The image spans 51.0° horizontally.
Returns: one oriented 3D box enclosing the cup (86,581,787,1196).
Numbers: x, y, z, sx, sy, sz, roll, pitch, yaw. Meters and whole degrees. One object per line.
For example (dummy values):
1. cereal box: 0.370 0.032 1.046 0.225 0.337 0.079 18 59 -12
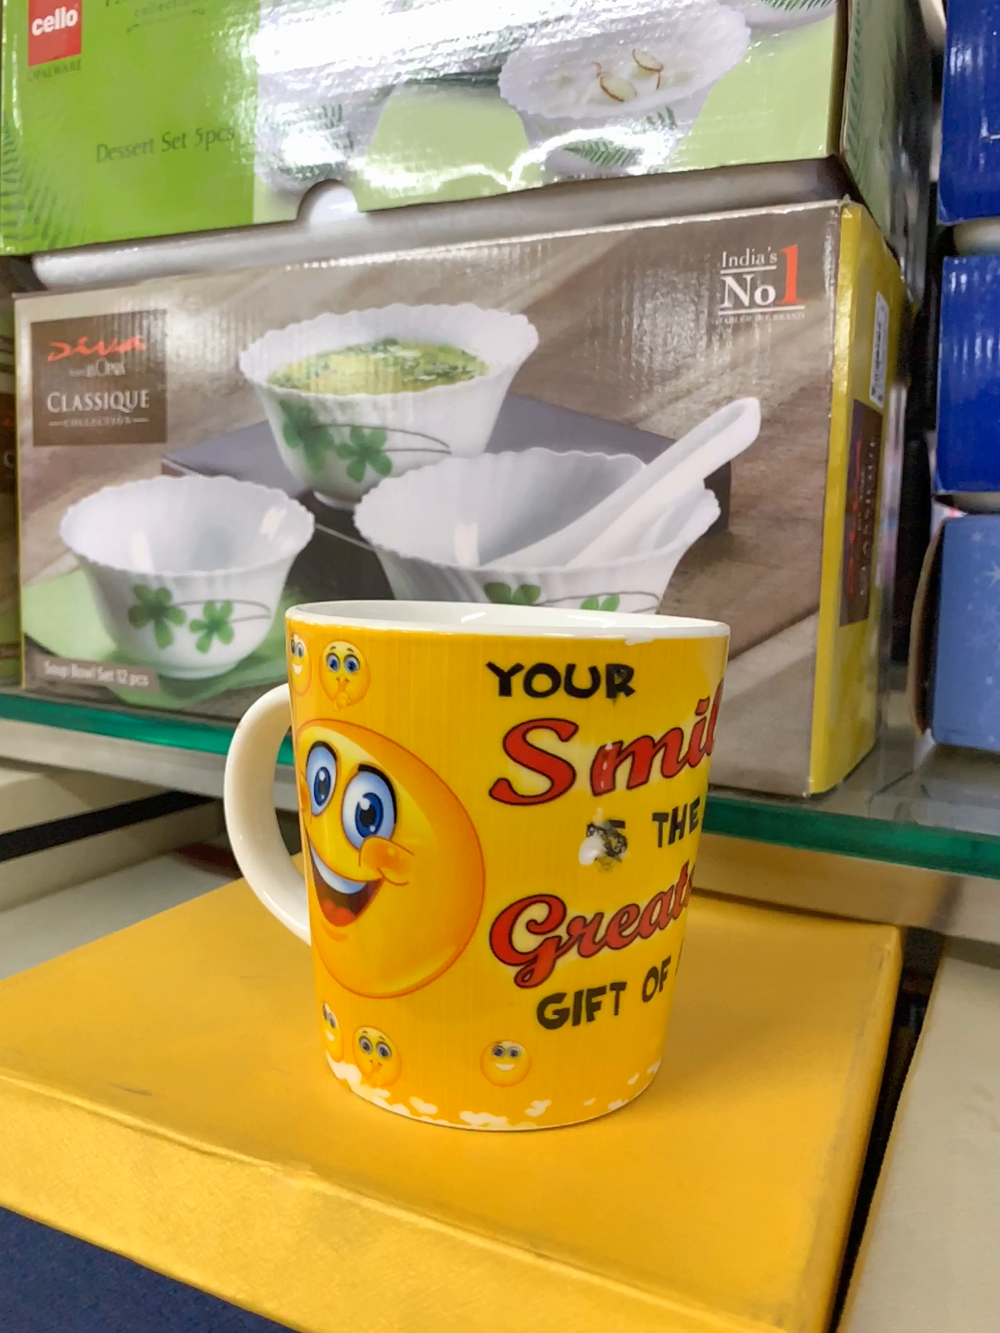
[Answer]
1. cup: -0.015 0.028 0.210 0.119 0.081 0.072 6 8 34
